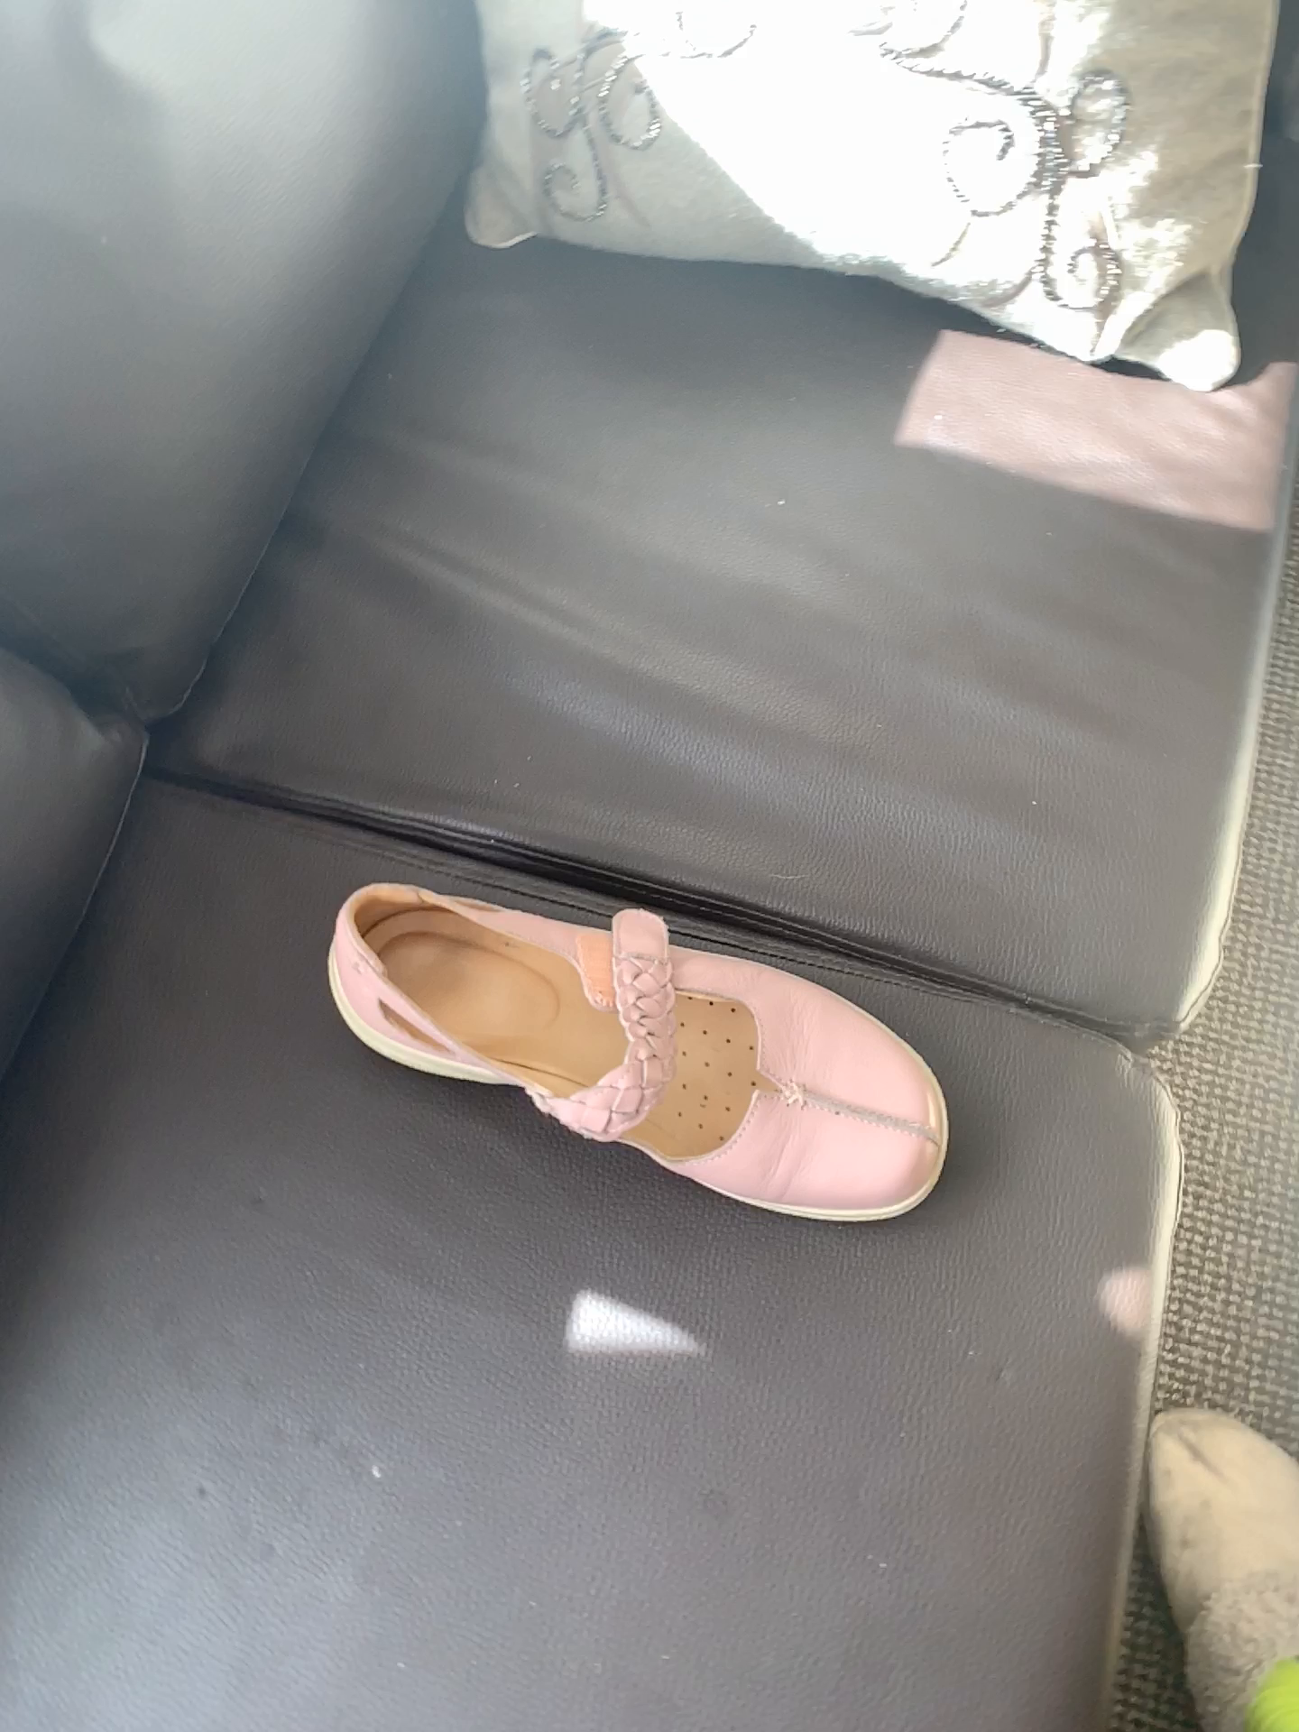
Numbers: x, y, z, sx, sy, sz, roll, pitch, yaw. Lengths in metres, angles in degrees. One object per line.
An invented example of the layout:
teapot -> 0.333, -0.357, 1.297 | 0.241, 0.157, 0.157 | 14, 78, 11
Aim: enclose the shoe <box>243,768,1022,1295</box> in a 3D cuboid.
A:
shoe -> -0.005, 0.067, 0.521 | 0.260, 0.100, 0.105 | 18, 70, 9
